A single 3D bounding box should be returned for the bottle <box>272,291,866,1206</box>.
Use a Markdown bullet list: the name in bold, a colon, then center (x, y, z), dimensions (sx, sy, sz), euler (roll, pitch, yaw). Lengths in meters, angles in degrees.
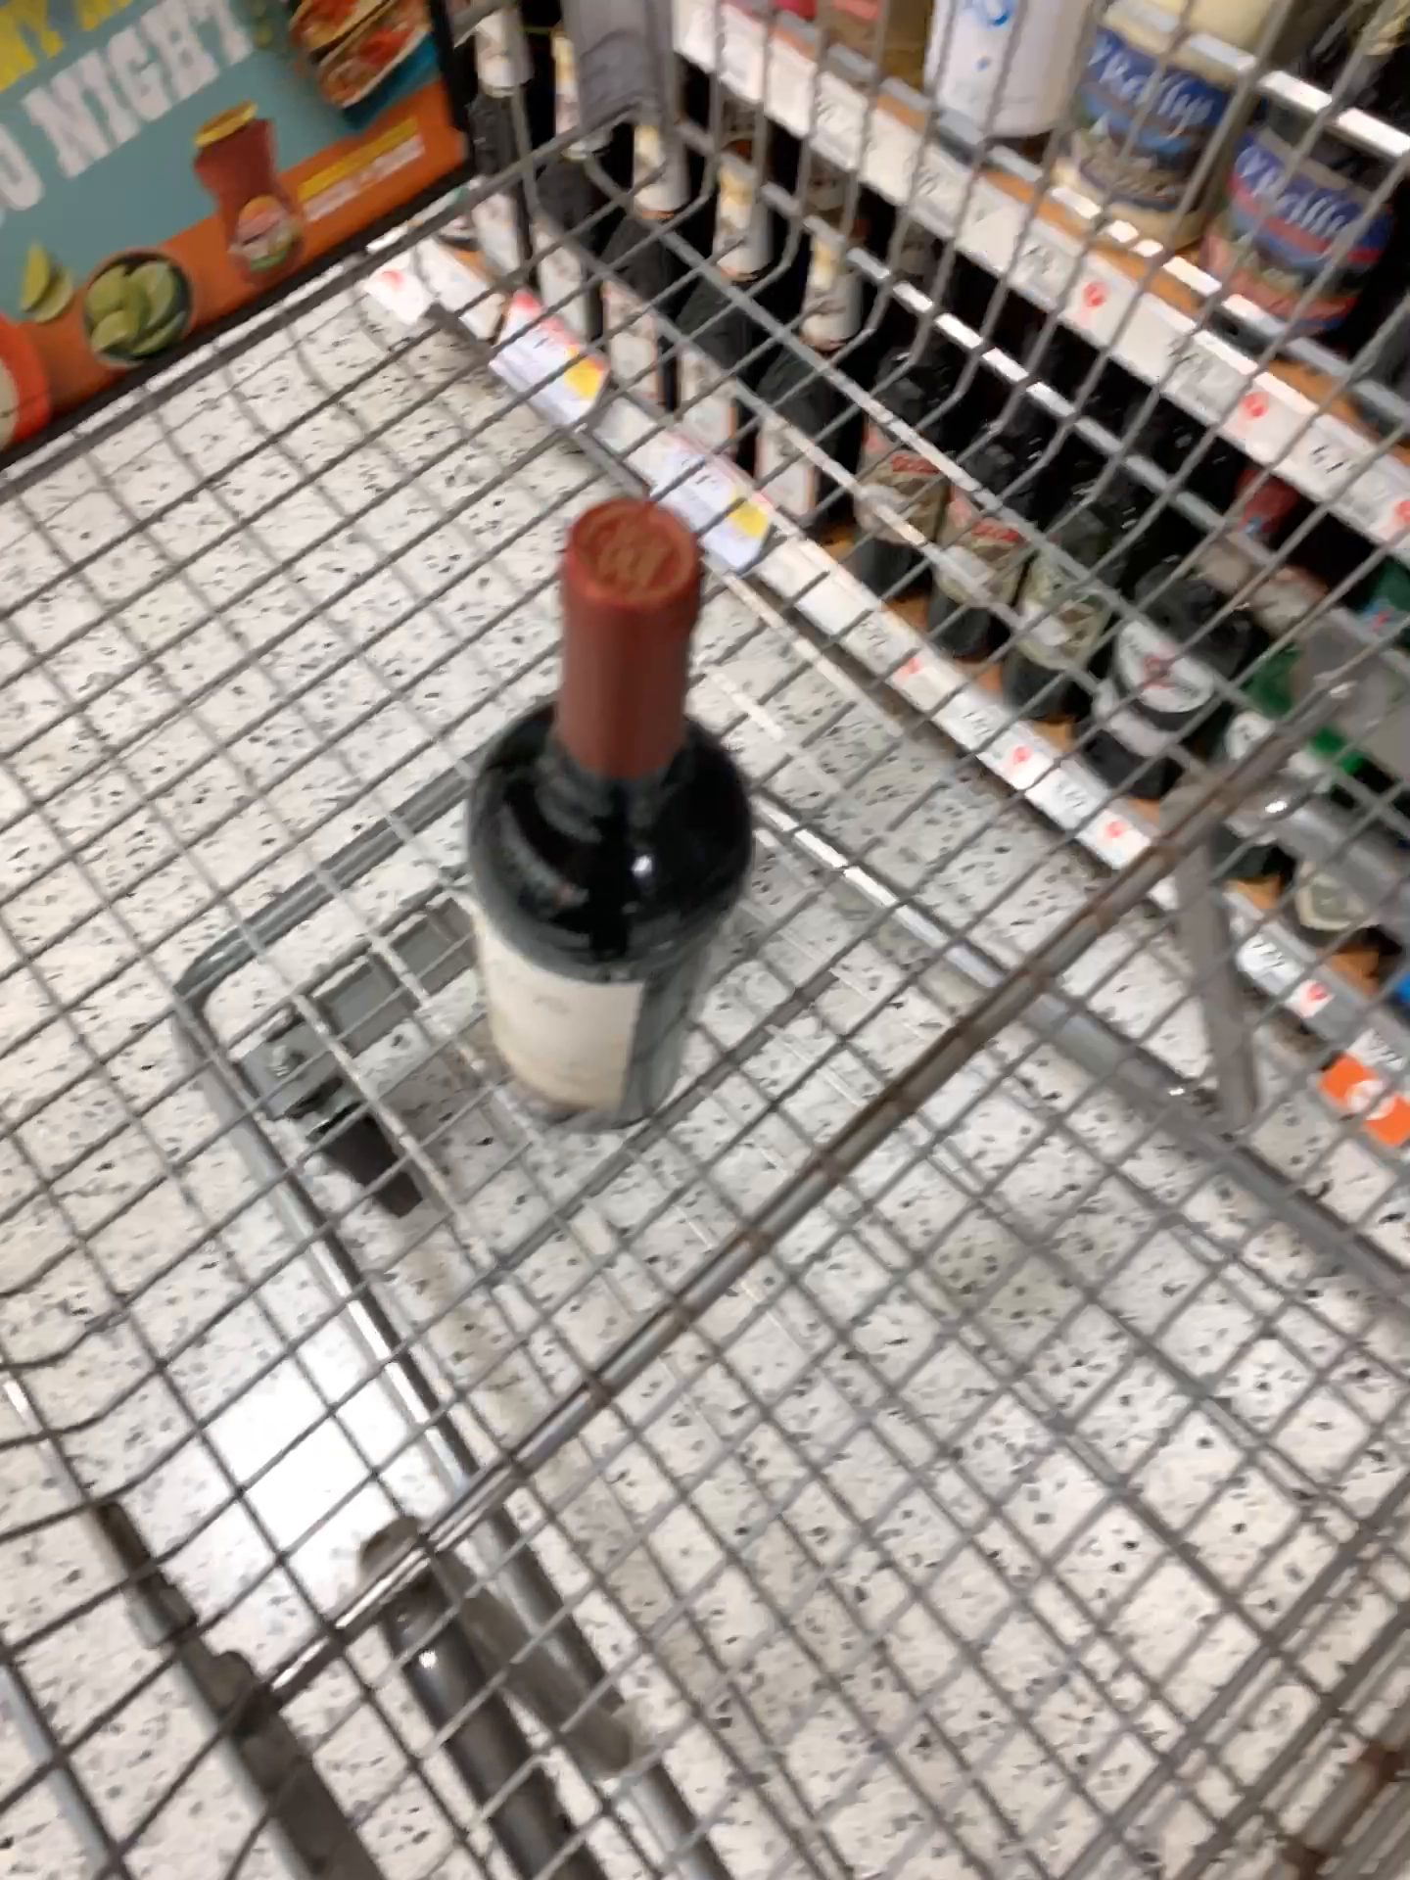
- **bottle**: center (-0.034, -0.016, 0.390), dimensions (0.080, 0.298, 0.090), euler (-18, 69, -11)
